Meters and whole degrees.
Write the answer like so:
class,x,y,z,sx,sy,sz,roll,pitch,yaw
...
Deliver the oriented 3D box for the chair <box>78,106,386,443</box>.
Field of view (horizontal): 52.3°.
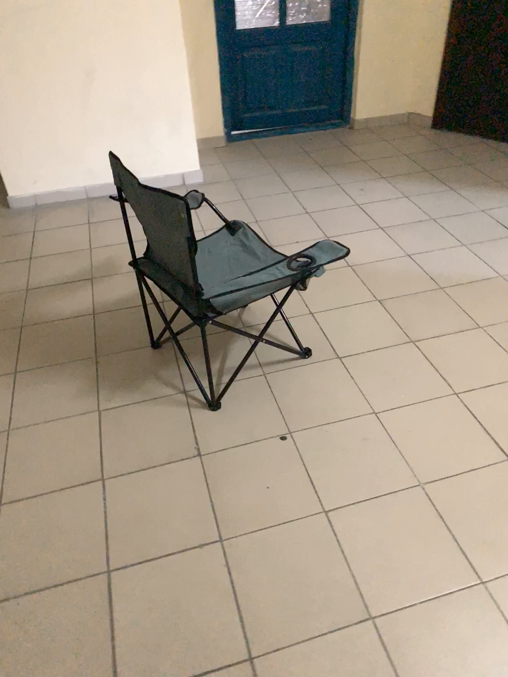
class,x,y,z,sx,sy,sz,roll,pitch,yaw
chair,-0.086,-0.268,1.791,0.561,0.756,0.803,-28,45,-27
